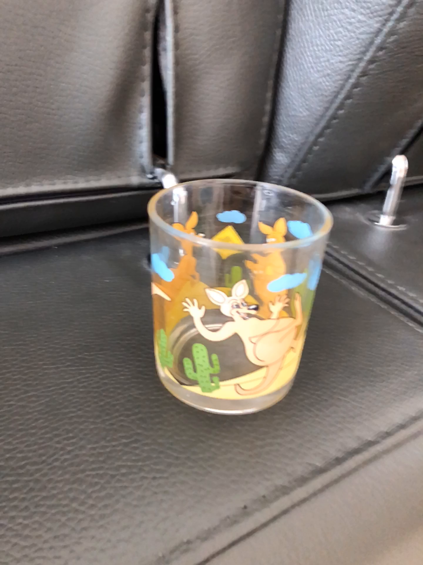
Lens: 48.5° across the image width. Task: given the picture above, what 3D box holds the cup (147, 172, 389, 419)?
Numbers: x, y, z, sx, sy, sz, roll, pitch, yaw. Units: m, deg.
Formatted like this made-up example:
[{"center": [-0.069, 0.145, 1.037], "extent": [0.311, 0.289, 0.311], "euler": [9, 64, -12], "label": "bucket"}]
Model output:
[{"center": [0.014, 0.001, 0.208], "extent": [0.080, 0.080, 0.070], "euler": [-2, 30, -12], "label": "cup"}]
